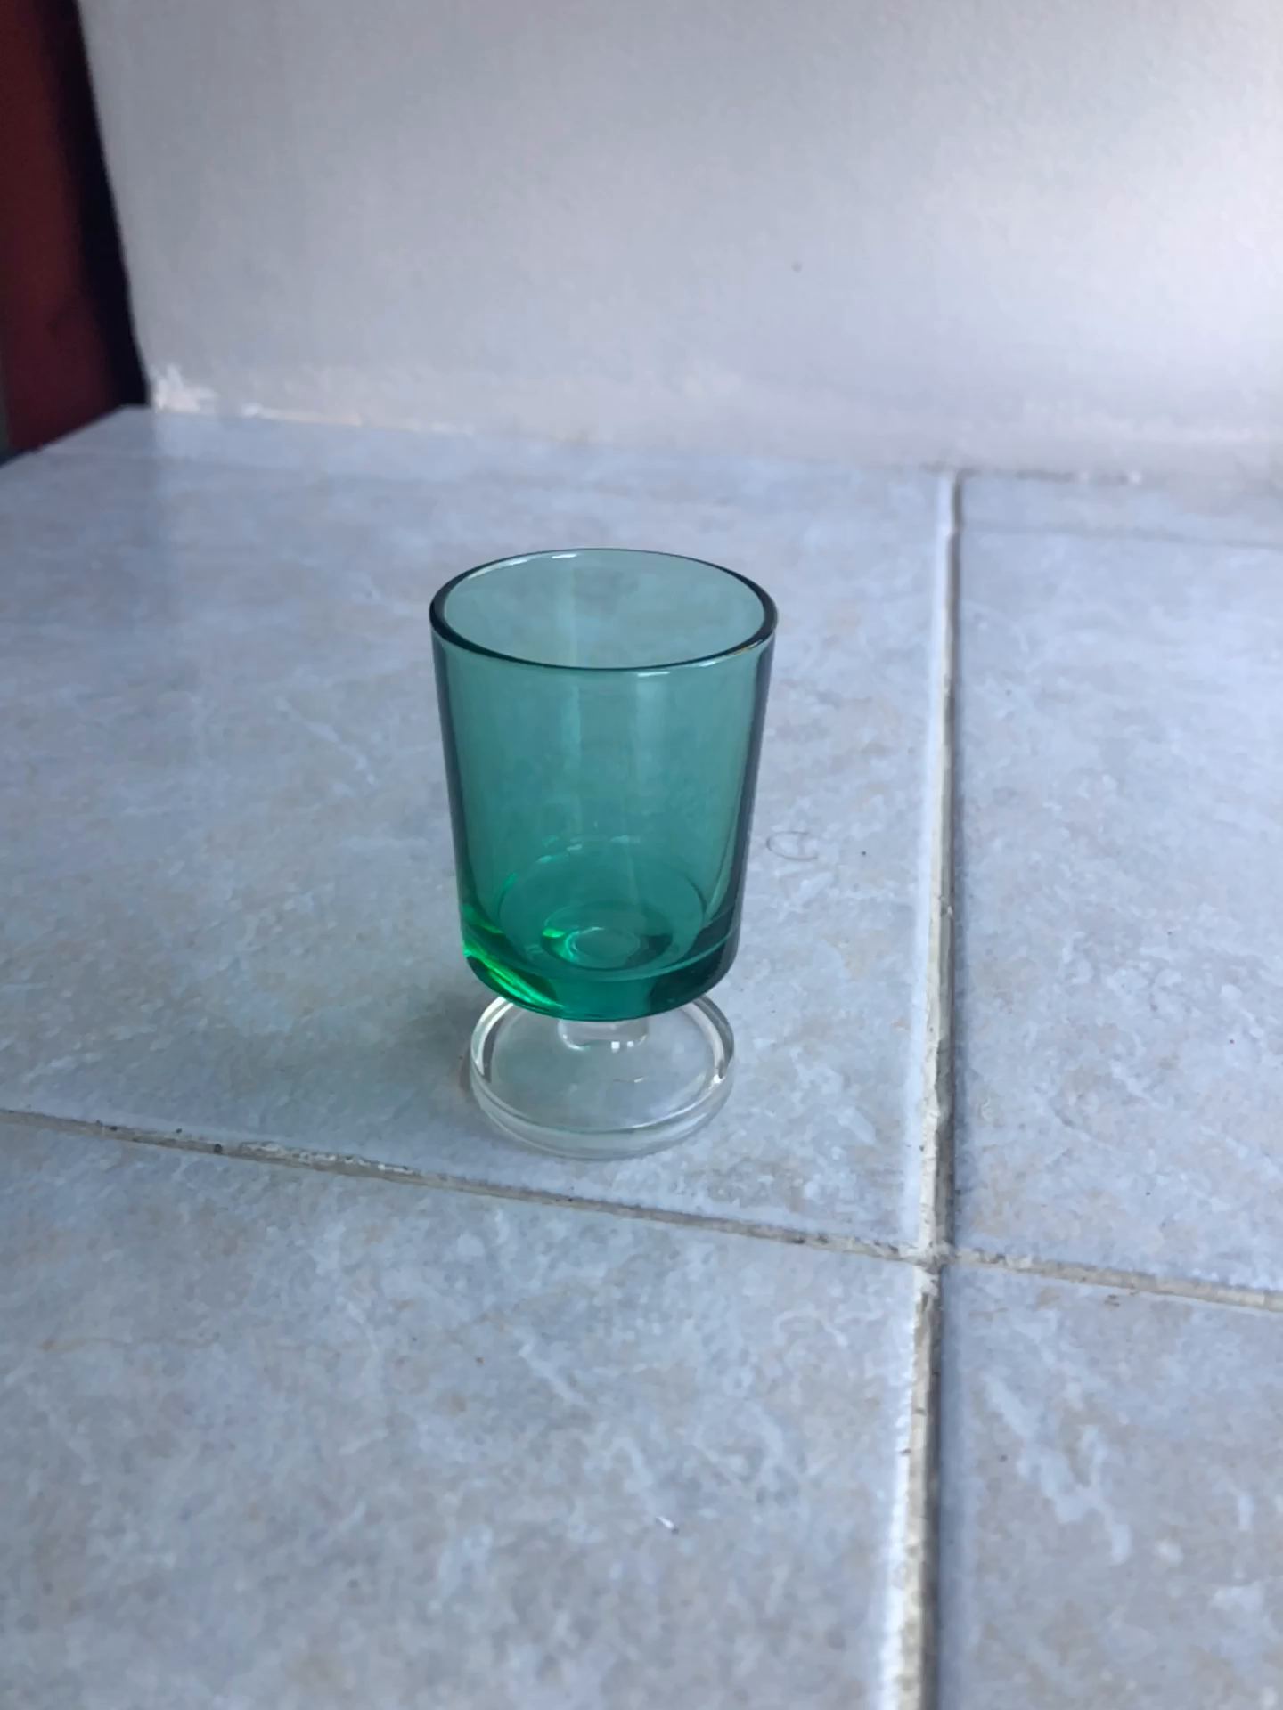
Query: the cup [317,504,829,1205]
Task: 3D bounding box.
[{"bbox_3d":[-0.009,-0.002,0.182,0.044,0.068,0.045,-1,29,1],"label":"cup"}]
